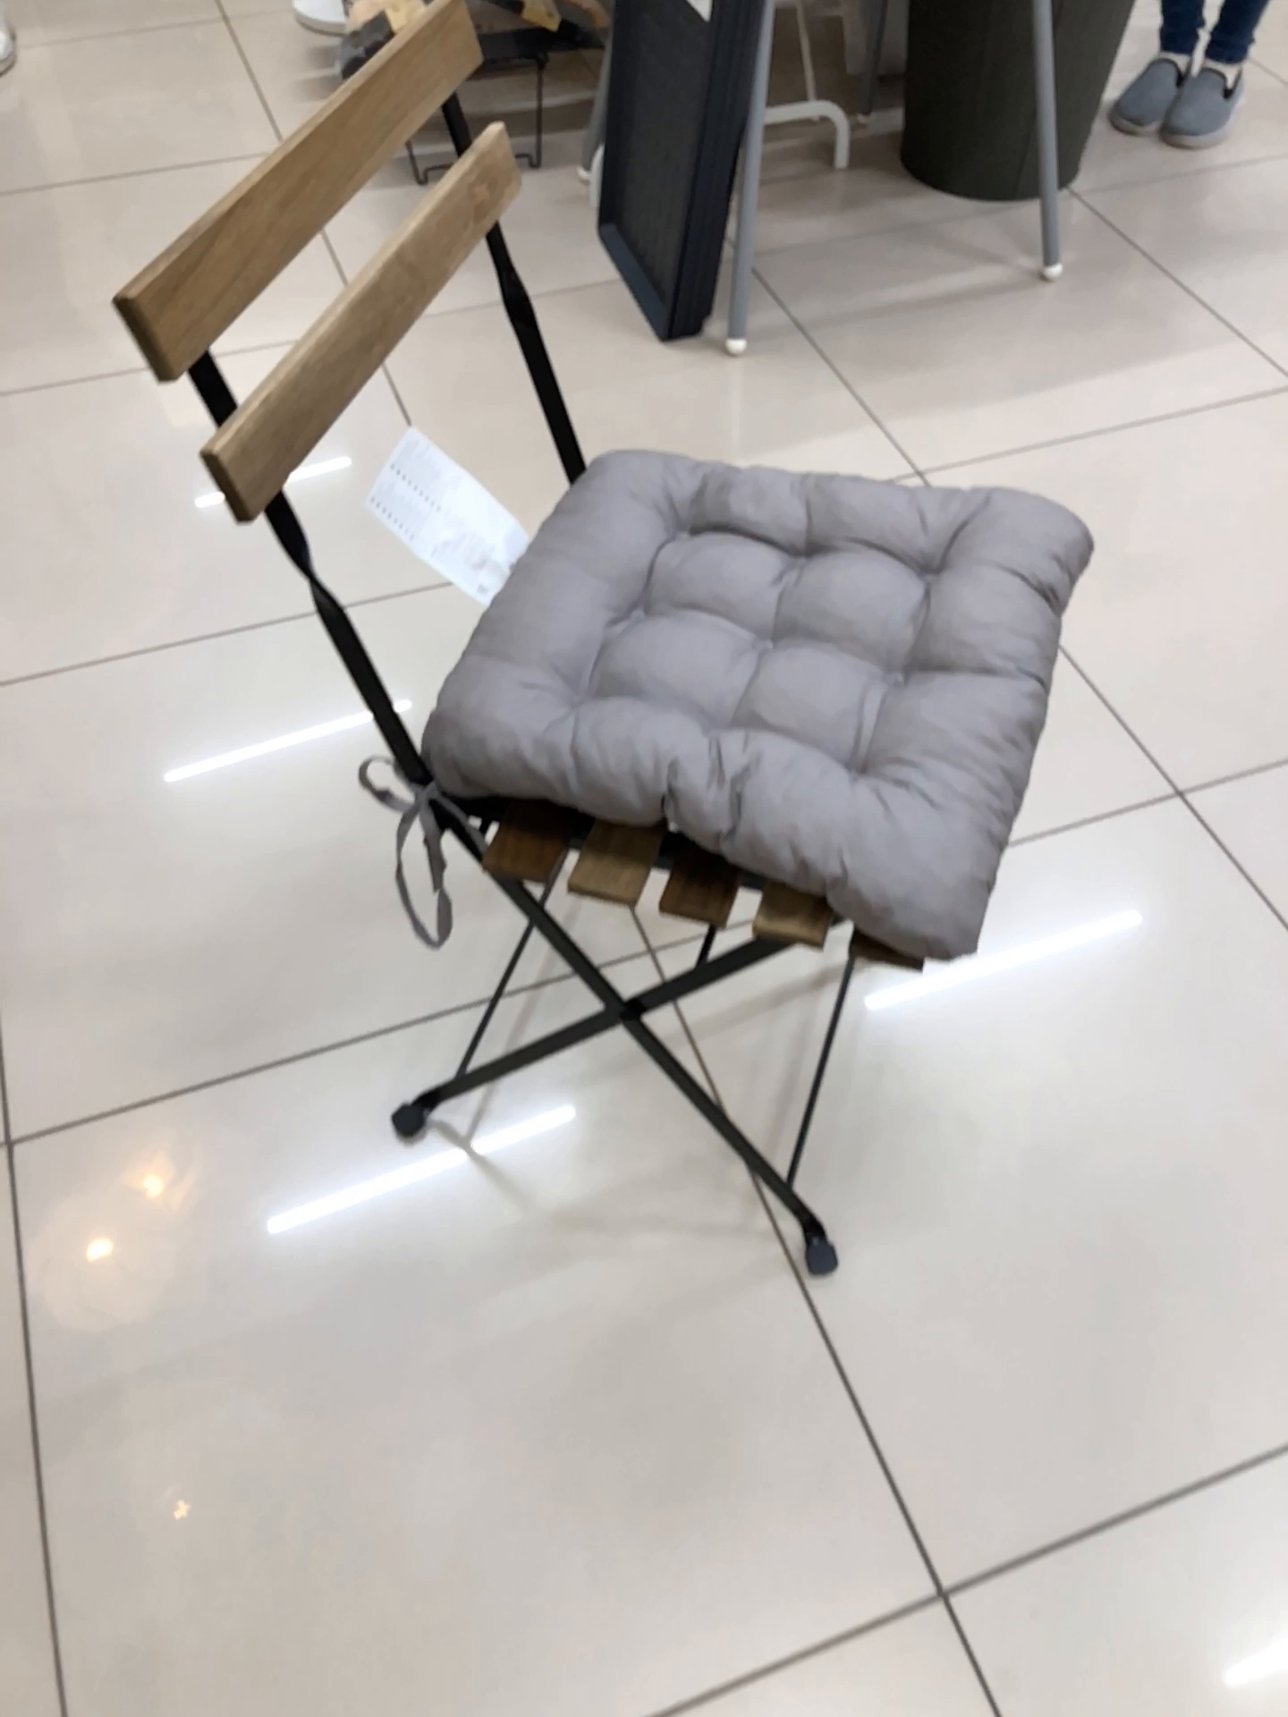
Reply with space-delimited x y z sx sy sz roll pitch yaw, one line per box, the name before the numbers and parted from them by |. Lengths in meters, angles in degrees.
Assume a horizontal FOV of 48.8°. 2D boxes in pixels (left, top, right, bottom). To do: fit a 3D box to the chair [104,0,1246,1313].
chair | 0.053 -0.104 0.973 0.440 0.766 0.442 13 52 10
